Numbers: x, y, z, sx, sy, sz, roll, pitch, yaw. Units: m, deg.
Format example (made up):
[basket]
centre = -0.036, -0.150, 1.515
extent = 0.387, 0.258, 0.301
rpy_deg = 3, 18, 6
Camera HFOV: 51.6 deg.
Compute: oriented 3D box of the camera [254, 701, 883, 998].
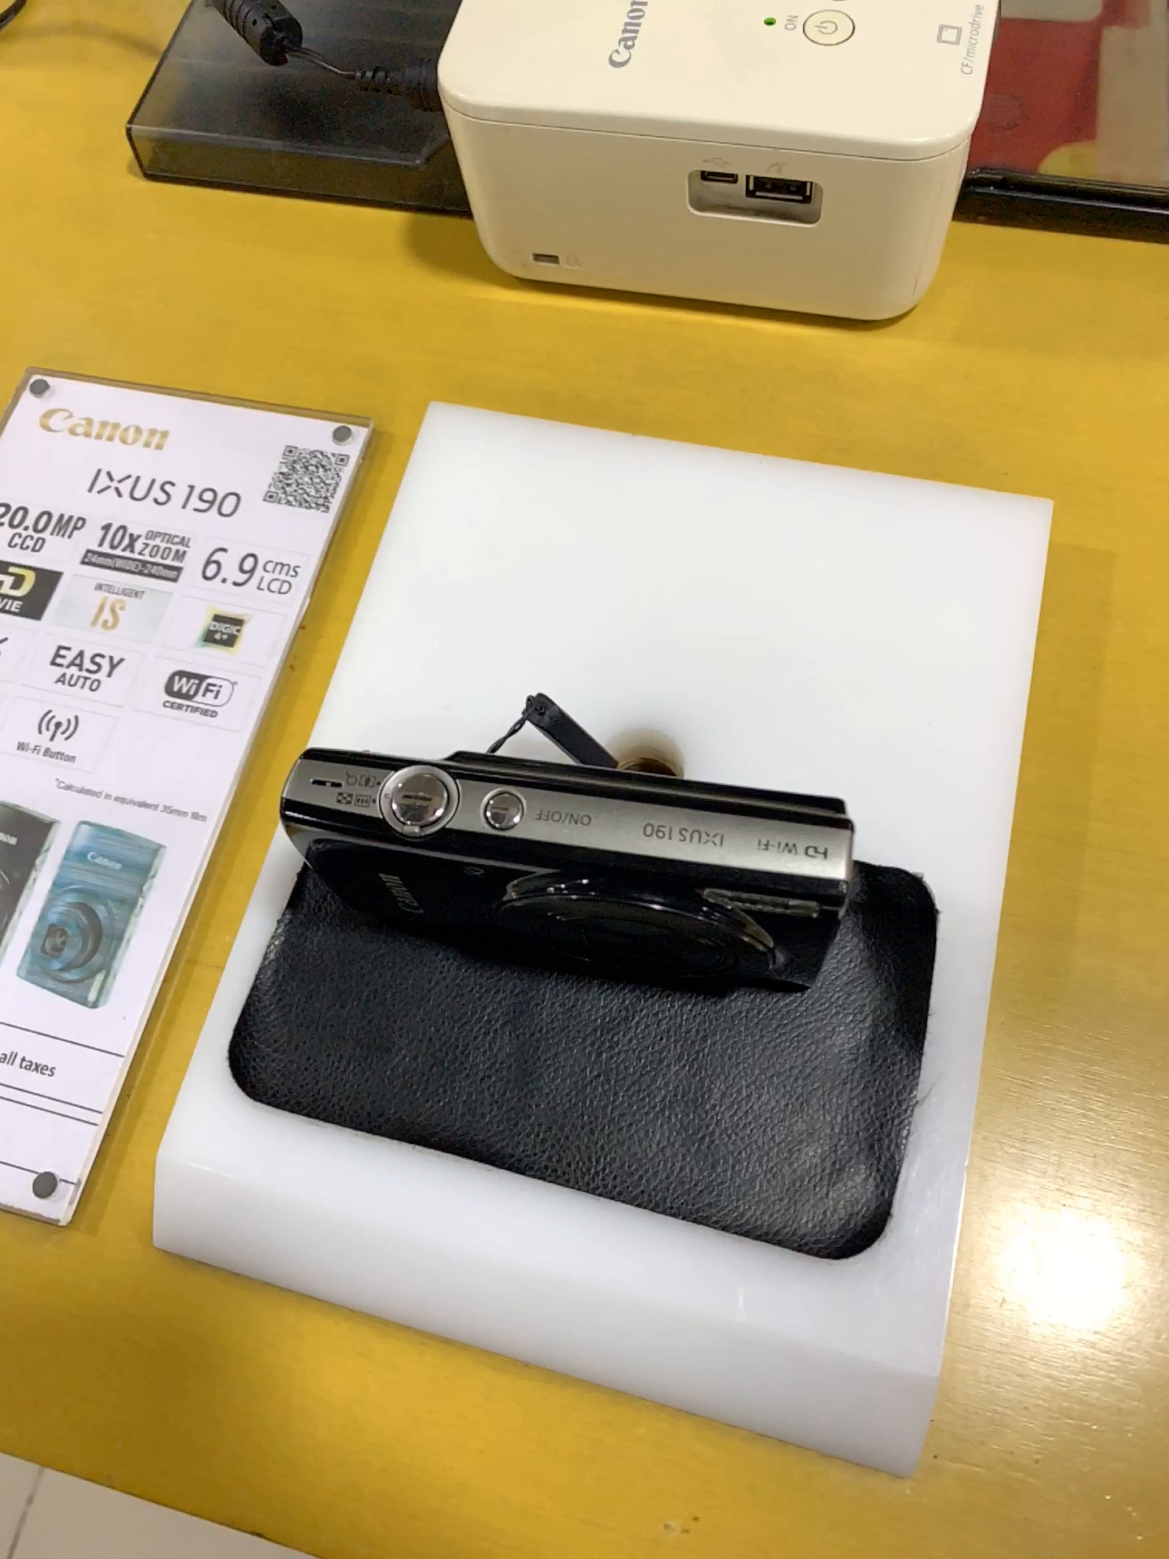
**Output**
[camera]
centre = -0.001, 0.014, 0.204
extent = 0.090, 0.060, 0.020
rpy_deg = 7, 69, 8
